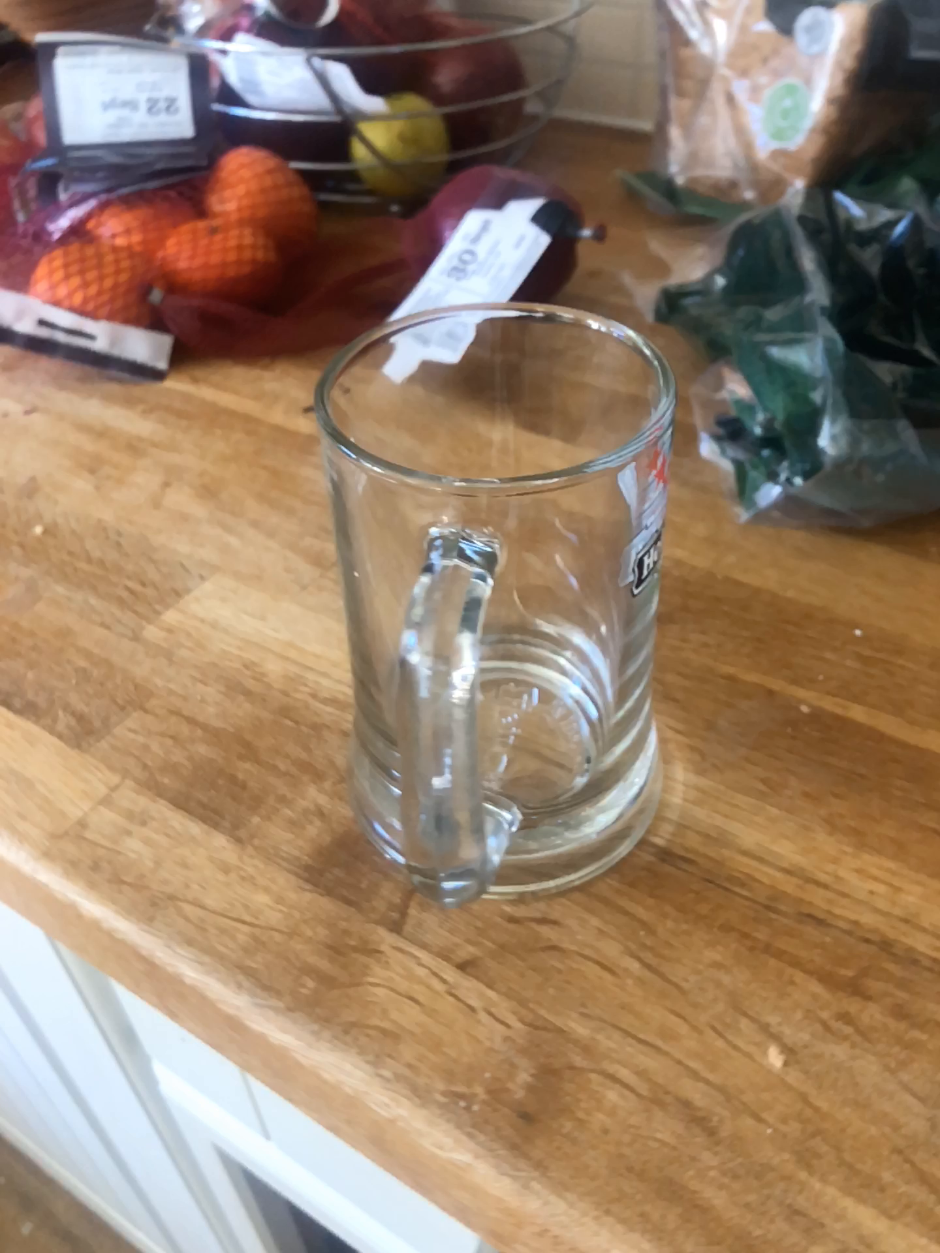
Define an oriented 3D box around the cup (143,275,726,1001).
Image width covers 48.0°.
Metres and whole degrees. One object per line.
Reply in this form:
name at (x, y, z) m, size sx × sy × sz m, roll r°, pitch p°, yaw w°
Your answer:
cup at (0.005, -0.003, 0.242) m, size 0.091 × 0.109 × 0.115 m, roll 5°, pitch 40°, yaw 11°
